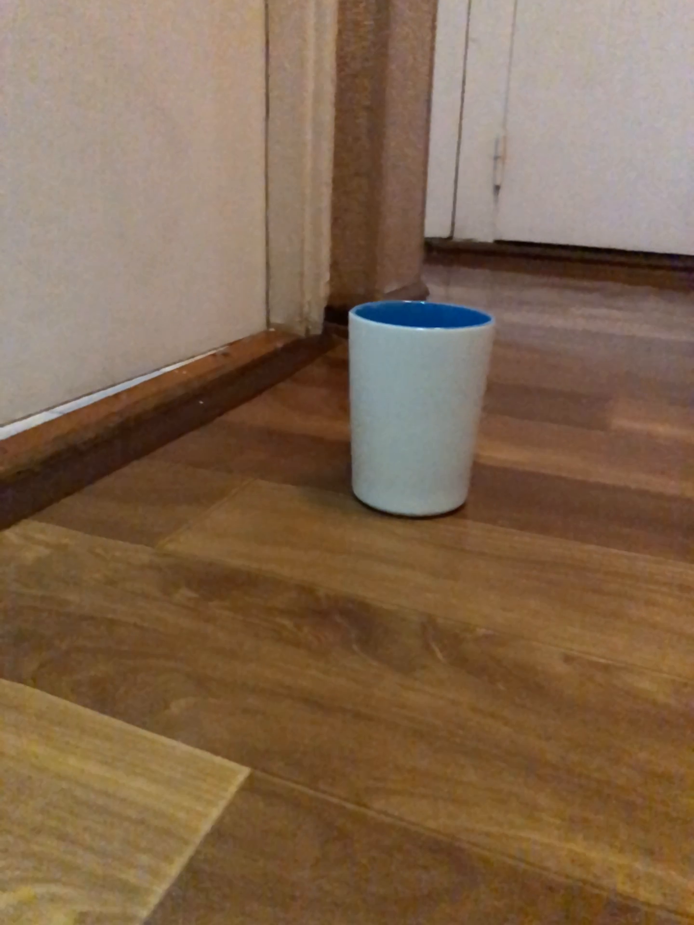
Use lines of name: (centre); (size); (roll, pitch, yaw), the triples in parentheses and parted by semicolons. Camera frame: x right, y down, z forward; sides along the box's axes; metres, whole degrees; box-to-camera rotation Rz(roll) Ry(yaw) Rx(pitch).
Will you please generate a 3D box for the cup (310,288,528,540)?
cup: (0.047, -0.039, 0.471); (0.088, 0.112, 0.130); (11, 23, 22)
